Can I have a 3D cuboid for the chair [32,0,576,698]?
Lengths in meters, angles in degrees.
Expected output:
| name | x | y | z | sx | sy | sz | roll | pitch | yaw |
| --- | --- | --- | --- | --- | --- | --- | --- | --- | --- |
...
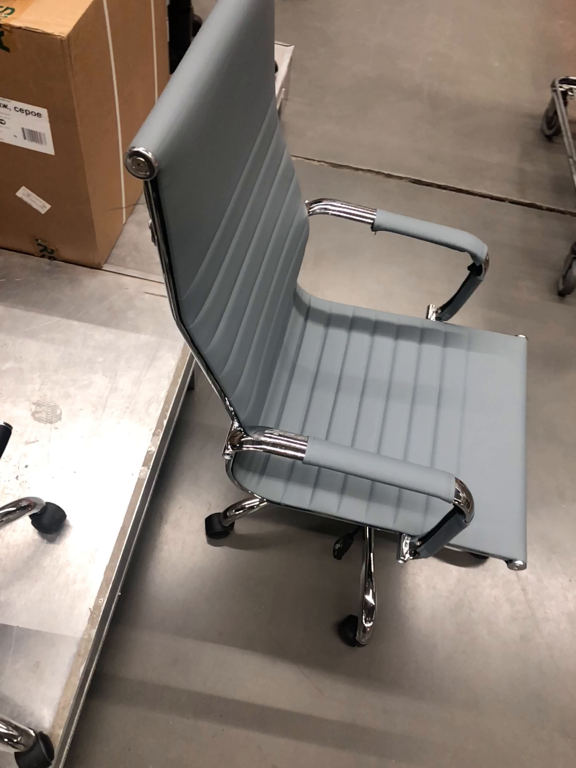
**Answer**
| name | x | y | z | sx | sy | sz | roll | pitch | yaw |
| --- | --- | --- | --- | --- | --- | --- | --- | --- | --- |
| chair | 0.194 | 0.002 | 1.143 | 0.750 | 1.214 | 0.714 | 14 | 56 | 2 |
